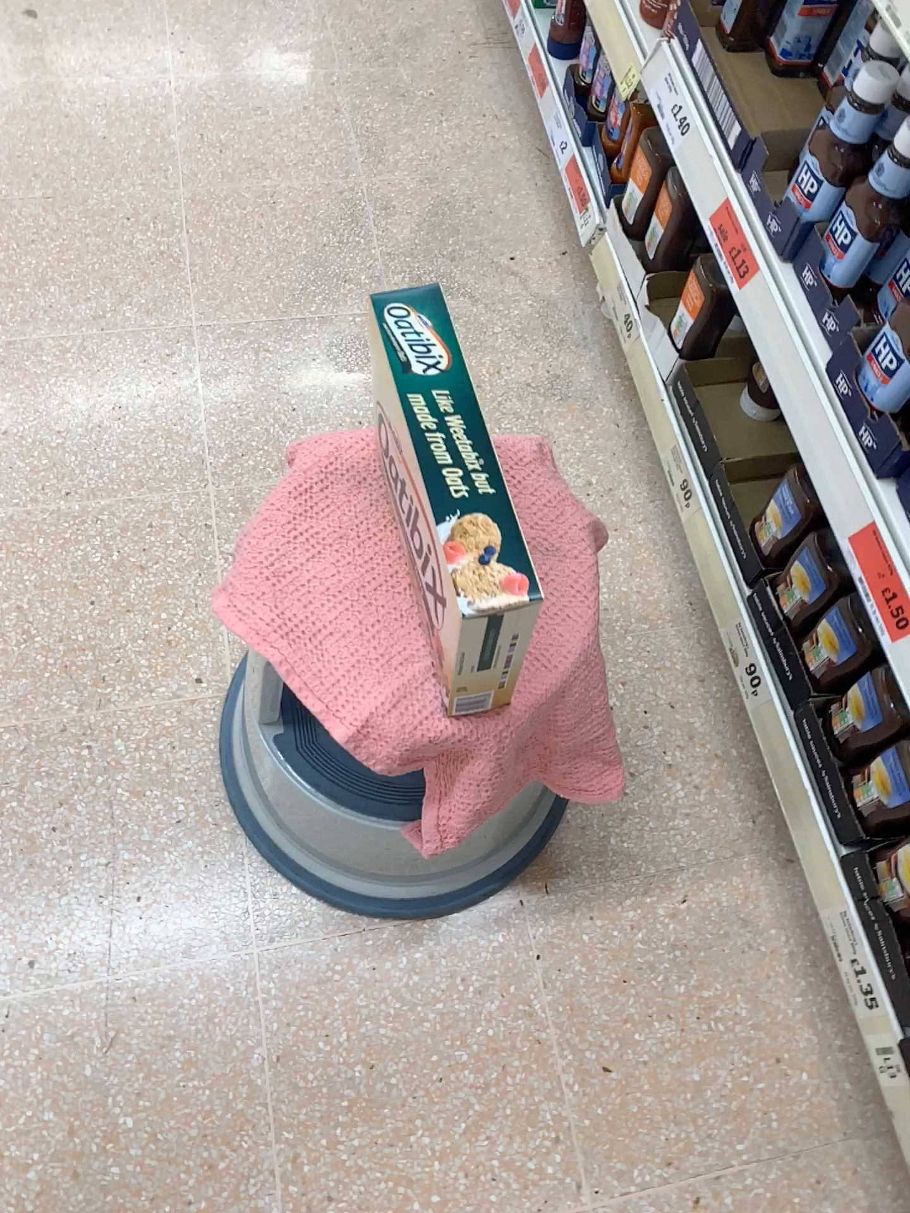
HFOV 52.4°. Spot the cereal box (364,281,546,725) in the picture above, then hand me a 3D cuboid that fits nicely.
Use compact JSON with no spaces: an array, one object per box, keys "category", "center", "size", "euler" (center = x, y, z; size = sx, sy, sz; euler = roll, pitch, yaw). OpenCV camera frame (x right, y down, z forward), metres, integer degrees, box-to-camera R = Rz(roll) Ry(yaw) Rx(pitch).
[{"category":"cereal box","center":[-0.010,-0.073,0.701],"size":[0.060,0.189,0.271],"euler":[-11,65,-8]}]
